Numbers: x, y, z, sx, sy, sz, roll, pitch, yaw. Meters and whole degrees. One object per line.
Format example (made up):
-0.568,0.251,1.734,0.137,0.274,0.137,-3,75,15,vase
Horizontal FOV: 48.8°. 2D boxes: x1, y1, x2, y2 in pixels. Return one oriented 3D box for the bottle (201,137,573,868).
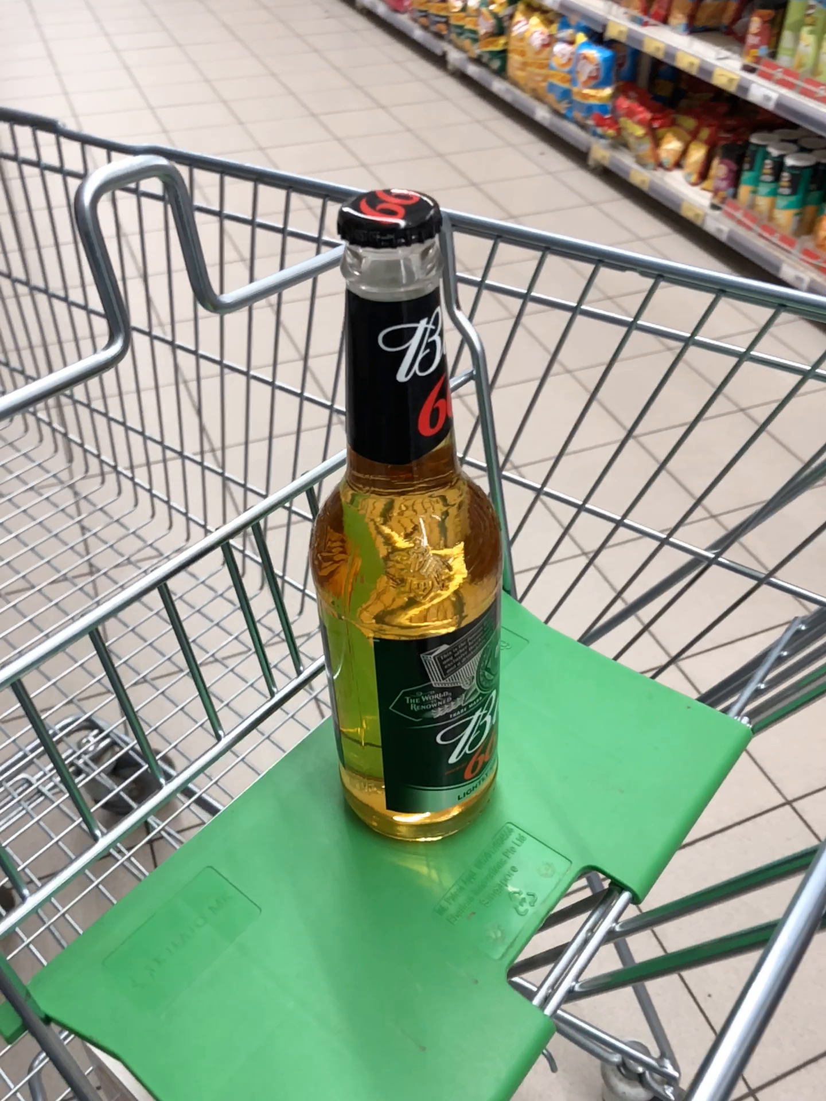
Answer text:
0.004,0.000,0.310,0.070,0.239,0.080,12,43,18,bottle
